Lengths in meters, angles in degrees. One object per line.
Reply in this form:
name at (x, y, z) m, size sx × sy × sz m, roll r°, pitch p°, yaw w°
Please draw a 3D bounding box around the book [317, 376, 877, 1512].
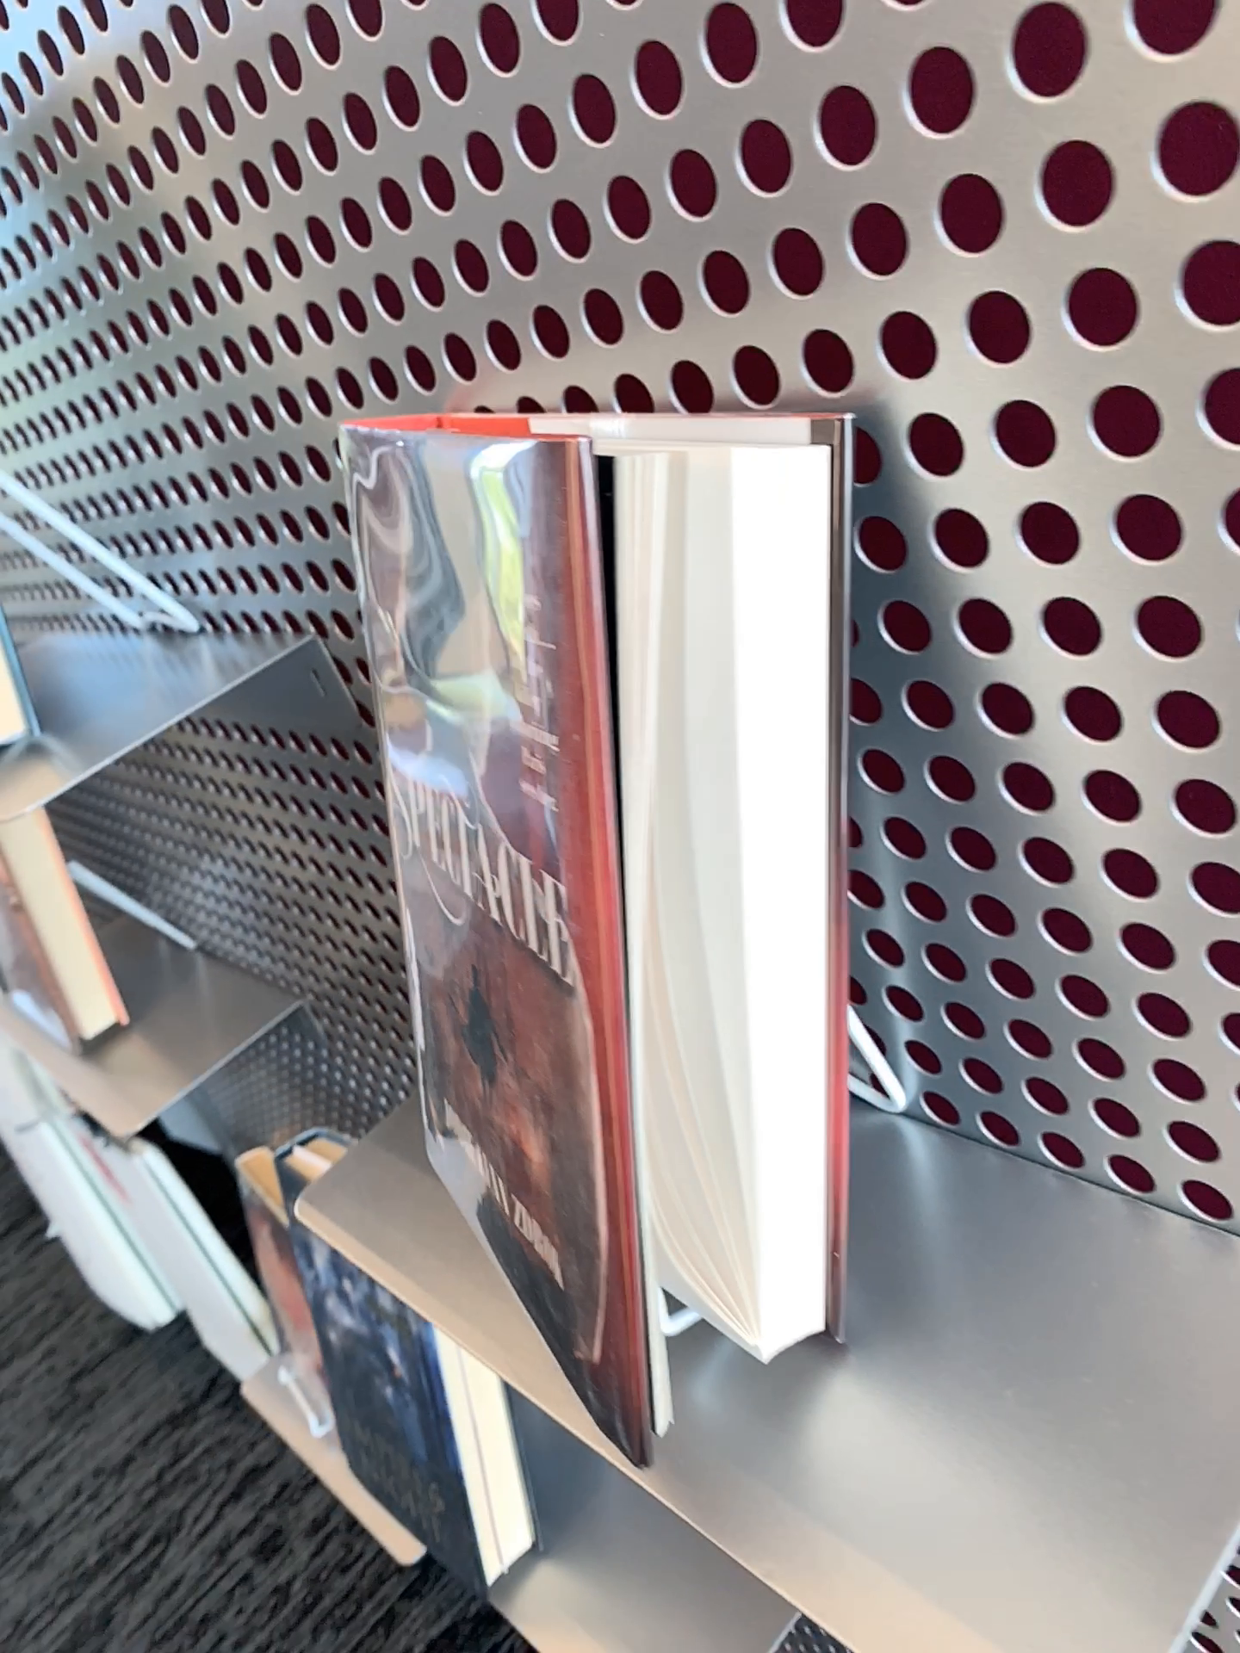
book at (-0.010, 0.011, 0.303) m, size 0.059 × 0.212 × 0.154 m, roll -12°, pitch 20°, yaw -22°
